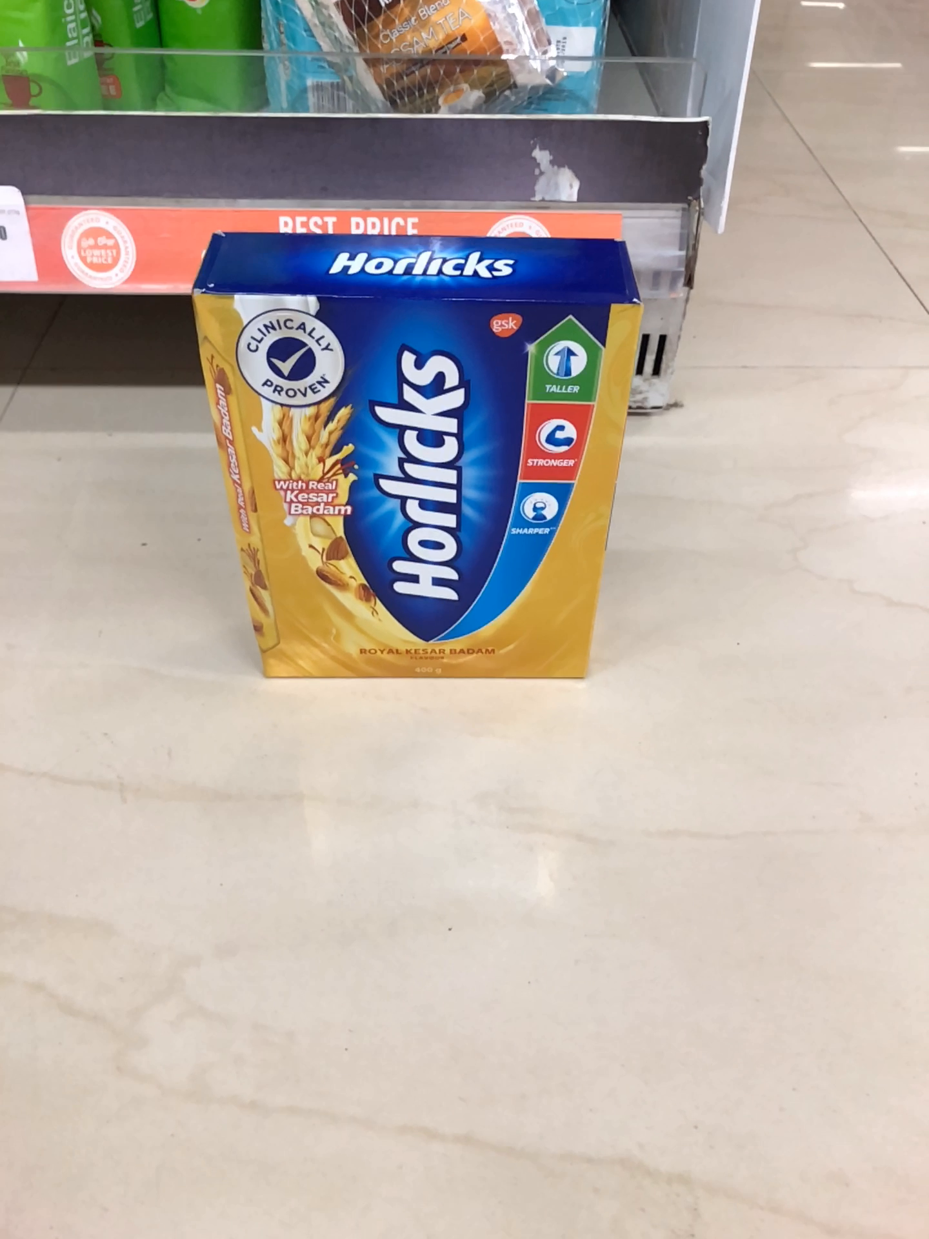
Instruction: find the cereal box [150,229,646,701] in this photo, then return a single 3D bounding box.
[{"bbox_3d":[-0.023,-0.048,0.391,0.150,0.179,0.050,0,43,-2],"label":"cereal box"}]
